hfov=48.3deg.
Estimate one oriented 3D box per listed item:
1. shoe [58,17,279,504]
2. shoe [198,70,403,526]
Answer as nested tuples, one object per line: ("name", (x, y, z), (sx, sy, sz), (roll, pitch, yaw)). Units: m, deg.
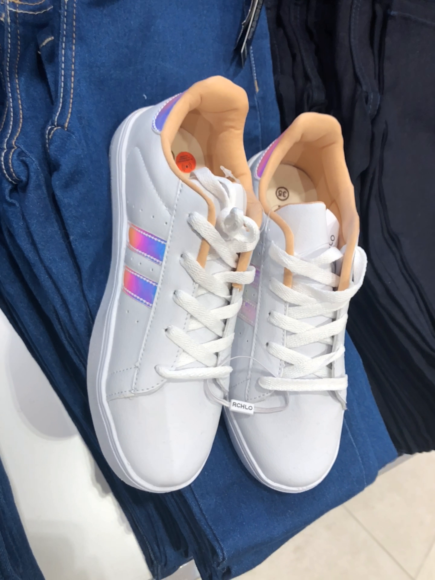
("shoe", (-0.034, -0.014, 0.319), (0.090, 0.109, 0.260), (8, 75, -33))
("shoe", (0.044, 0.005, 0.334), (0.090, 0.110, 0.260), (3, 77, -15))
